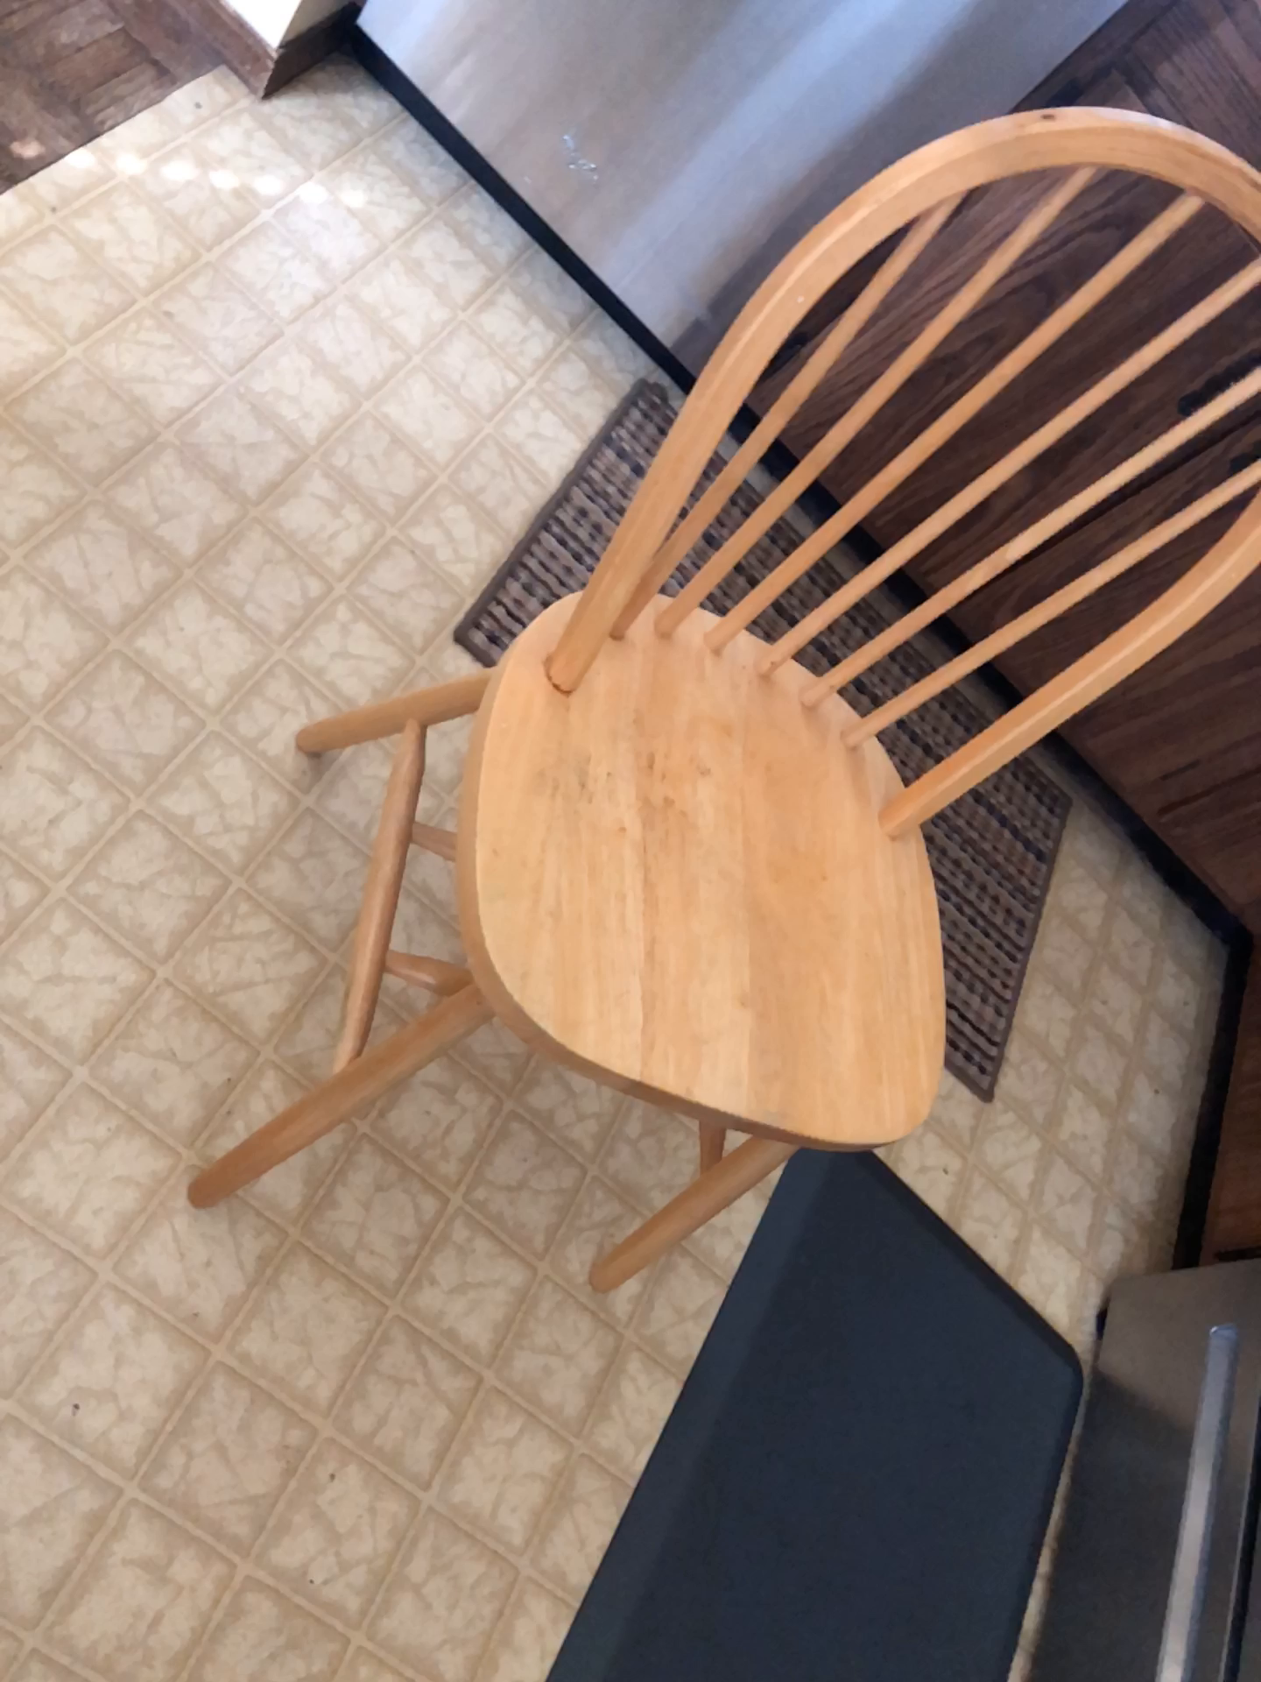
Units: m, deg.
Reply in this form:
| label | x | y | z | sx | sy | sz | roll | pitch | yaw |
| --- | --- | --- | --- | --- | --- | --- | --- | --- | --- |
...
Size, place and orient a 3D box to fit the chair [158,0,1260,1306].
| label | x | y | z | sx | sy | sz | roll | pitch | yaw |
| --- | --- | --- | --- | --- | --- | --- | --- | --- | --- |
| chair | 0.093 | -0.038 | 1.006 | 0.462 | 0.897 | 0.560 | 22 | 57 | -29 |
